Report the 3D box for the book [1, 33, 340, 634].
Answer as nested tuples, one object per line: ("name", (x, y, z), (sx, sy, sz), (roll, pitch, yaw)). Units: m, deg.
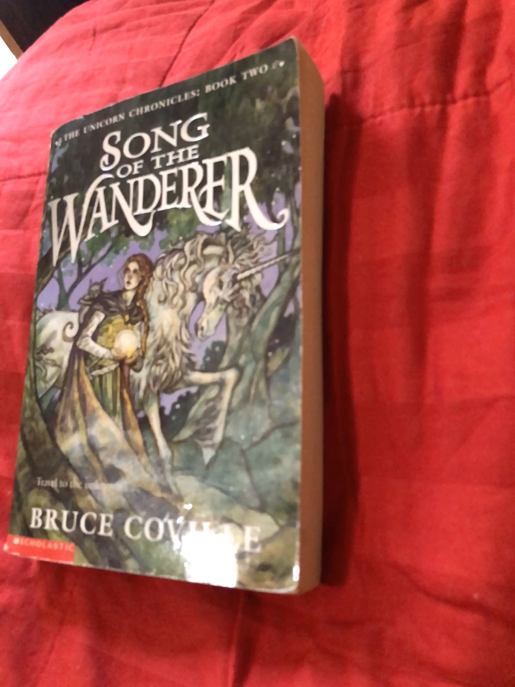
("book", (-0.035, -0.006, 0.221), (0.130, 0.030, 0.190), (-5, 77, 30))
